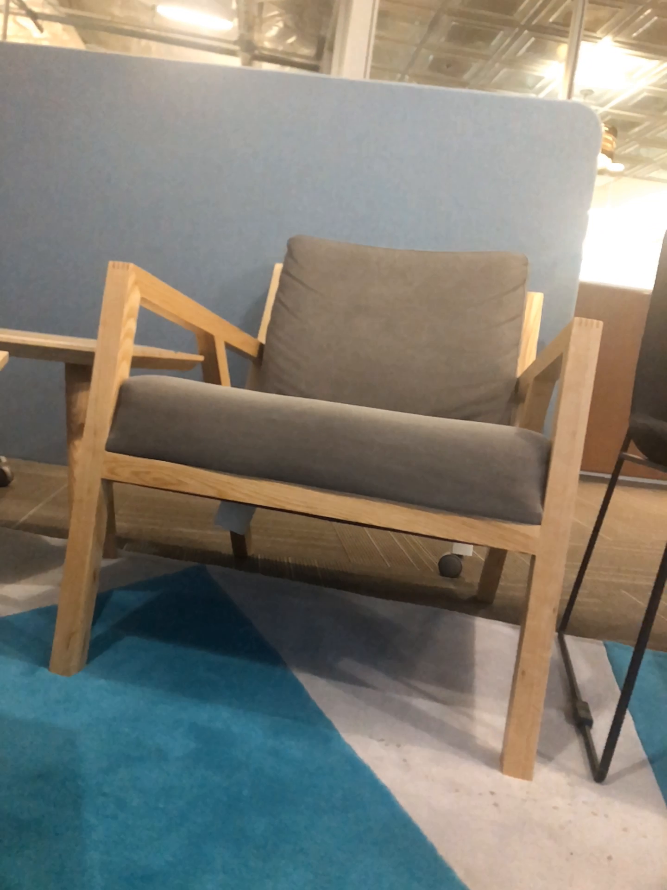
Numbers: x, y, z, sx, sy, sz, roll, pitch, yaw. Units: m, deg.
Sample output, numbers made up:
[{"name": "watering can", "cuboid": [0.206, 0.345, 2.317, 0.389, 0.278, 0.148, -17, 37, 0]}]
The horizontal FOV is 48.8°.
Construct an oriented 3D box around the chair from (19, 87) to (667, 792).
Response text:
[{"name": "chair", "cuboid": [0.055, -0.058, 1.289, 0.710, 0.748, 0.843, 8, 6, 10]}]
